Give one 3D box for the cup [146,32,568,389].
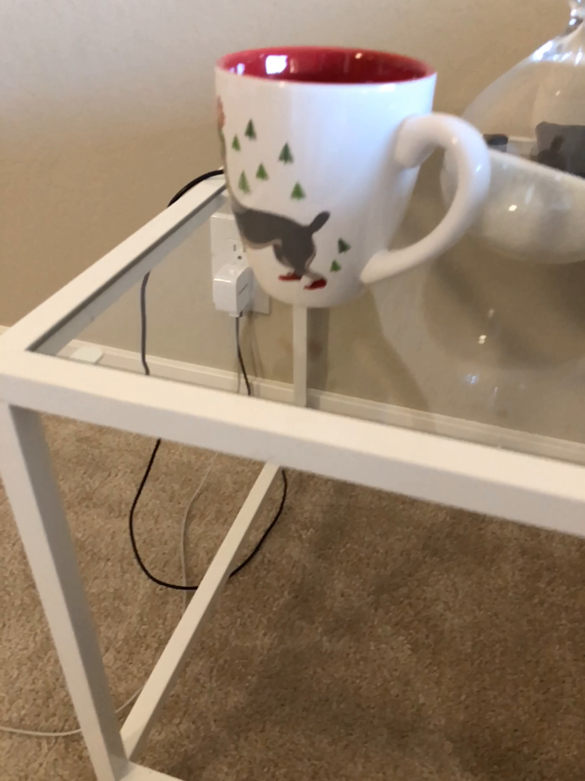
[{"bbox_3d":[0.023,-0.096,0.307,0.150,0.109,0.100,29,44,34],"label":"cup"}]
